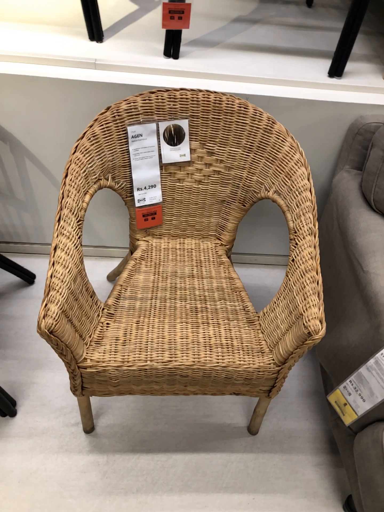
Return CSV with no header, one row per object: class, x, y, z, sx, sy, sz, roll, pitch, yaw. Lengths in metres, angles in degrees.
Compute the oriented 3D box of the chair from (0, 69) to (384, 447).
chair,-0.020,0.052,1.033,0.550,0.696,0.603,3,51,-5
